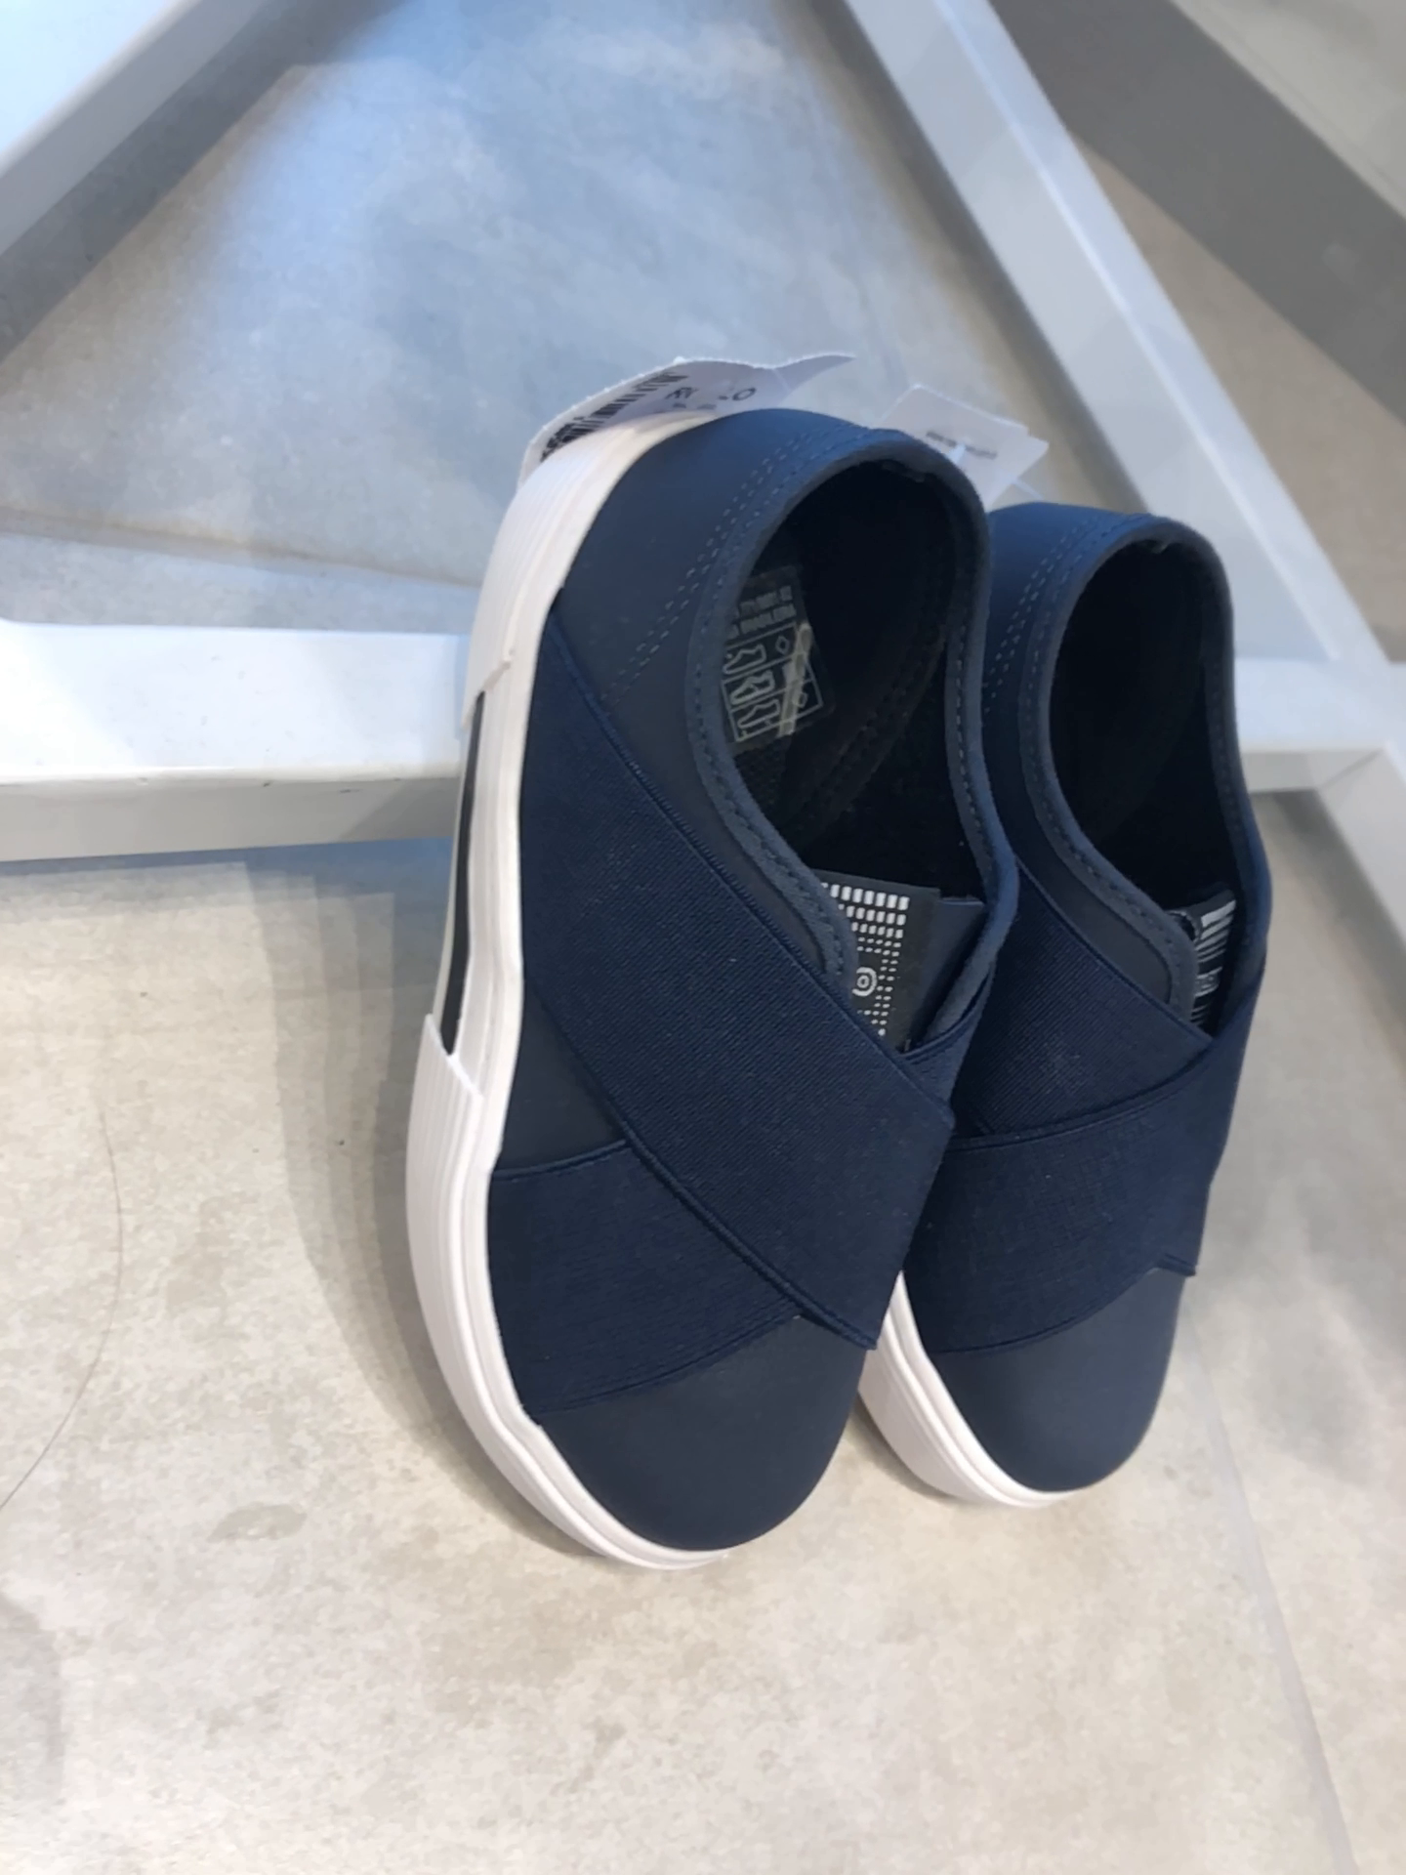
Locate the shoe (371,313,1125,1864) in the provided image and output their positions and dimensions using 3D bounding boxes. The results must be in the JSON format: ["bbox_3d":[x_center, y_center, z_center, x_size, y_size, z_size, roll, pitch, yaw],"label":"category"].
[{"bbox_3d":[0.003,0.016,0.228,0.070,0.070,0.180,-3,99,-41],"label":"shoe"}]

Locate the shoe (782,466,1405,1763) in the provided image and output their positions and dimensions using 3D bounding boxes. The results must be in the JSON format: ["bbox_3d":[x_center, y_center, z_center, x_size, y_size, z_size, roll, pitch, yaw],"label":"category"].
[{"bbox_3d":[0.064,0.022,0.261,0.070,0.070,0.180,-5,100,-36],"label":"shoe"}]
